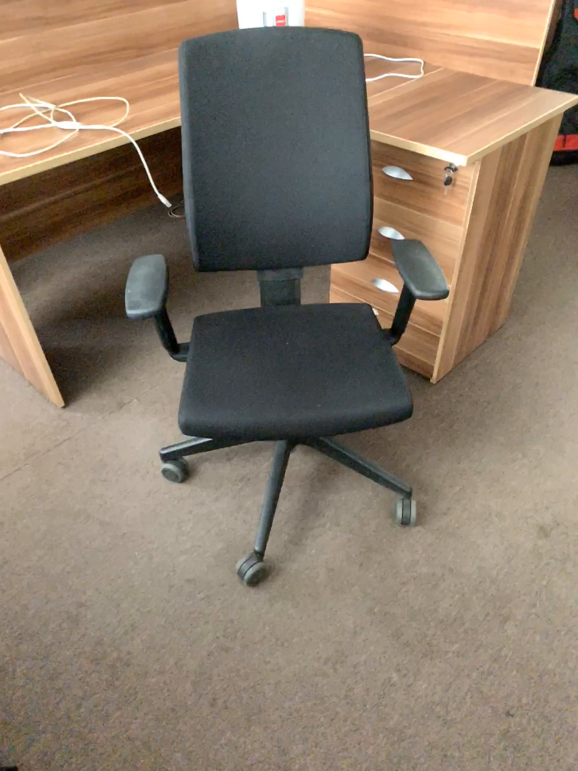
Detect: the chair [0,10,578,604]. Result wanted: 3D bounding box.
[{"bbox_3d":[-0.027,-0.170,1.244,0.670,0.915,0.794,-5,42,-3],"label":"chair"}]
